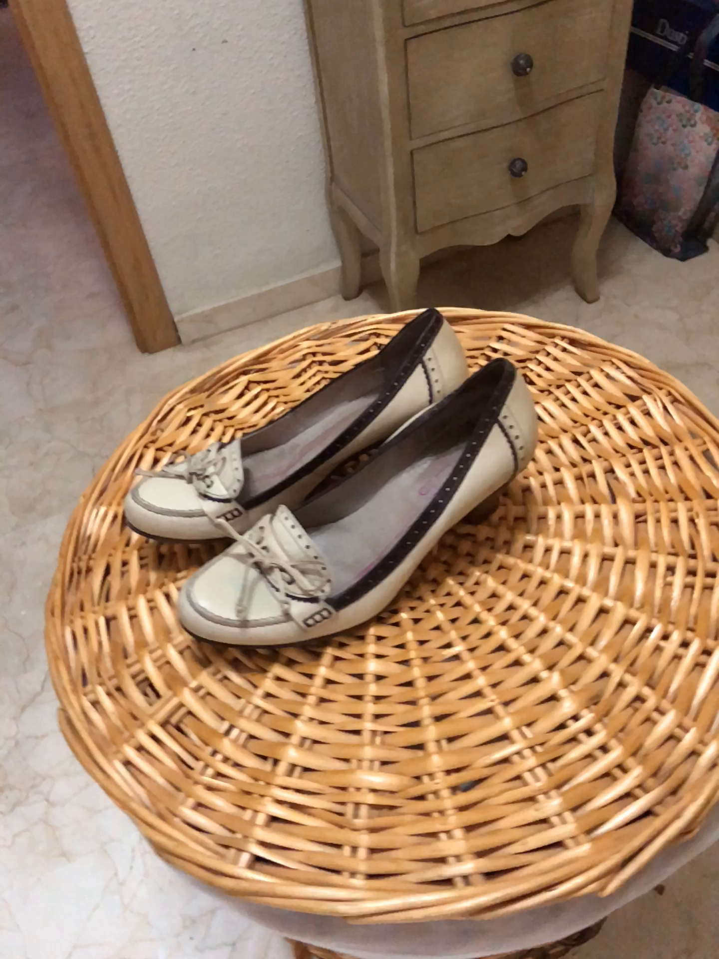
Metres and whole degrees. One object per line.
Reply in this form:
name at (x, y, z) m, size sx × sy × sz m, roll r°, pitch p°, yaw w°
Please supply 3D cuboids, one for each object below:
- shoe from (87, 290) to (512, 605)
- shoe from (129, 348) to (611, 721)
shoe at (-0.036, -0.025, 0.549) m, size 0.260 × 0.110 × 0.100 m, roll -17°, pitch 44°, yaw -8°
shoe at (0.011, 0.026, 0.485) m, size 0.260 × 0.090 × 0.100 m, roll -23°, pitch 45°, yaw -13°
